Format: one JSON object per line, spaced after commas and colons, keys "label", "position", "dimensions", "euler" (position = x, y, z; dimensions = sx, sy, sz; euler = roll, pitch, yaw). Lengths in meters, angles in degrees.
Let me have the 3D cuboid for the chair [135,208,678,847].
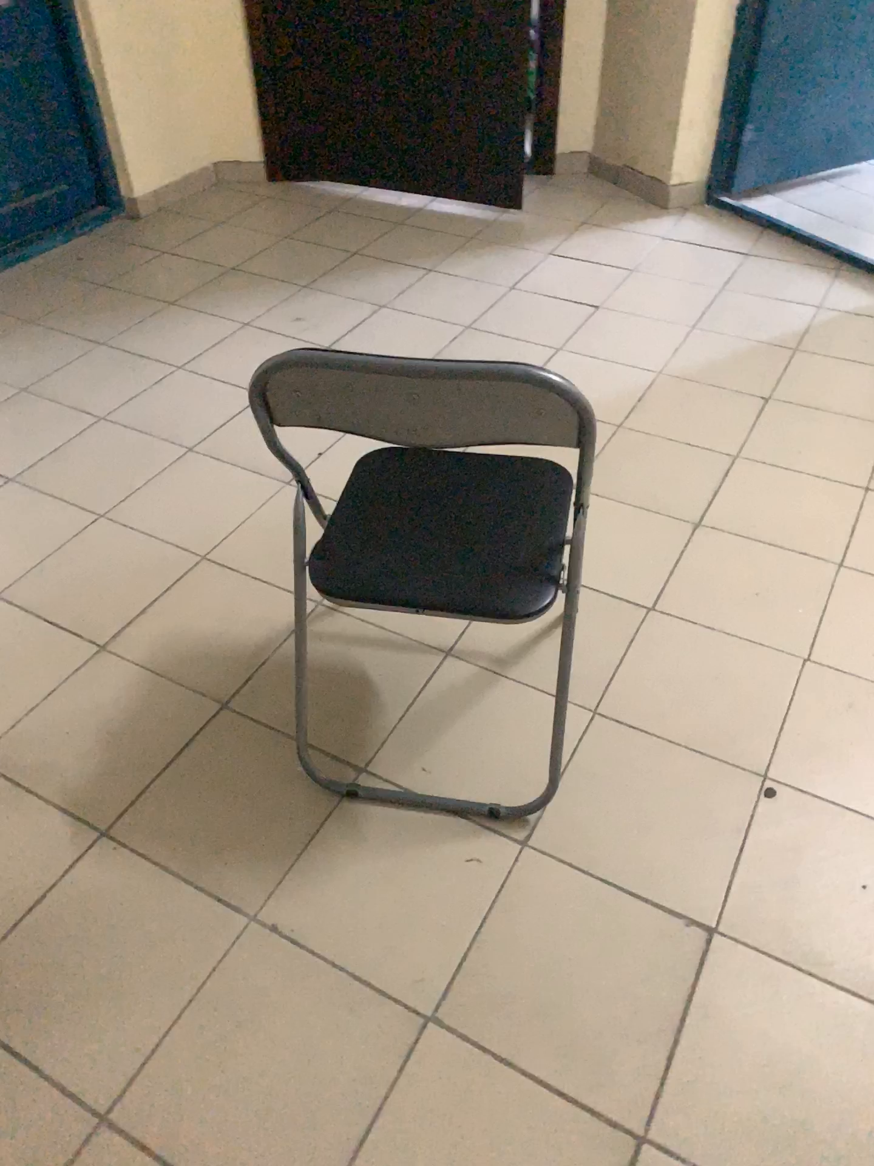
{"label": "chair", "position": [0.014, -0.088, 1.371], "dimensions": [0.570, 0.727, 0.562], "euler": [8, 43, 10]}
